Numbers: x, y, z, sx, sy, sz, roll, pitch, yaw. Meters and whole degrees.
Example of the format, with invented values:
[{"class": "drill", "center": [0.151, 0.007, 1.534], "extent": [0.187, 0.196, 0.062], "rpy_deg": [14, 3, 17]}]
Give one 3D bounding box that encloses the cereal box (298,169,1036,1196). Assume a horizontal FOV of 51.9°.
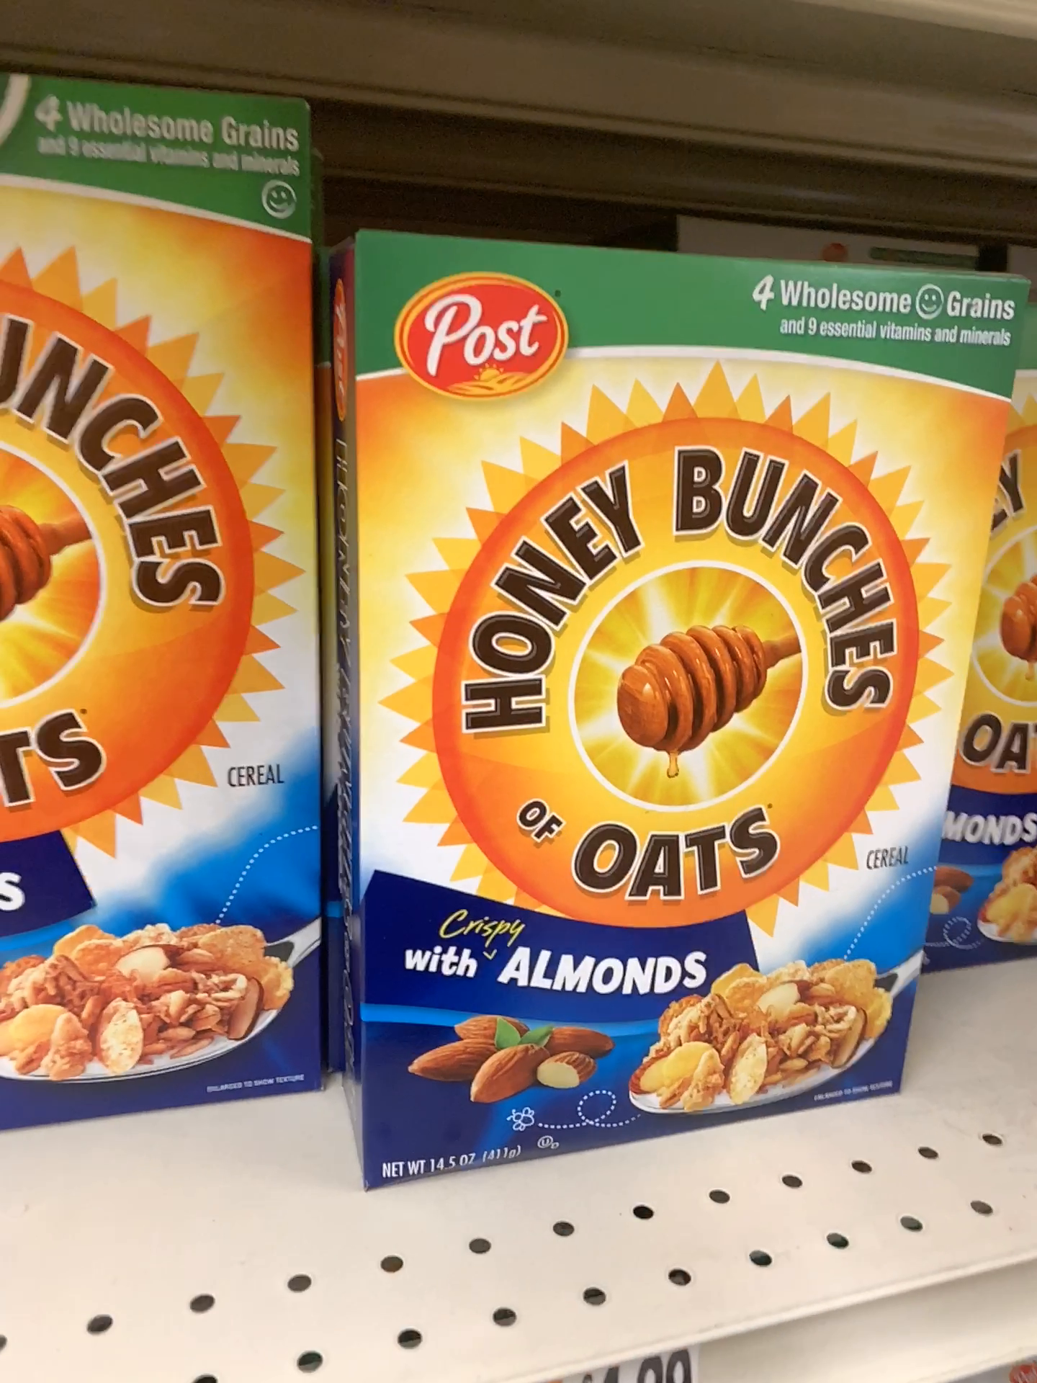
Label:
[{"class": "cereal box", "center": [0.038, 0.003, 0.333], "extent": [0.200, 0.279, 0.060], "rpy_deg": [-3, 17, -16]}]
